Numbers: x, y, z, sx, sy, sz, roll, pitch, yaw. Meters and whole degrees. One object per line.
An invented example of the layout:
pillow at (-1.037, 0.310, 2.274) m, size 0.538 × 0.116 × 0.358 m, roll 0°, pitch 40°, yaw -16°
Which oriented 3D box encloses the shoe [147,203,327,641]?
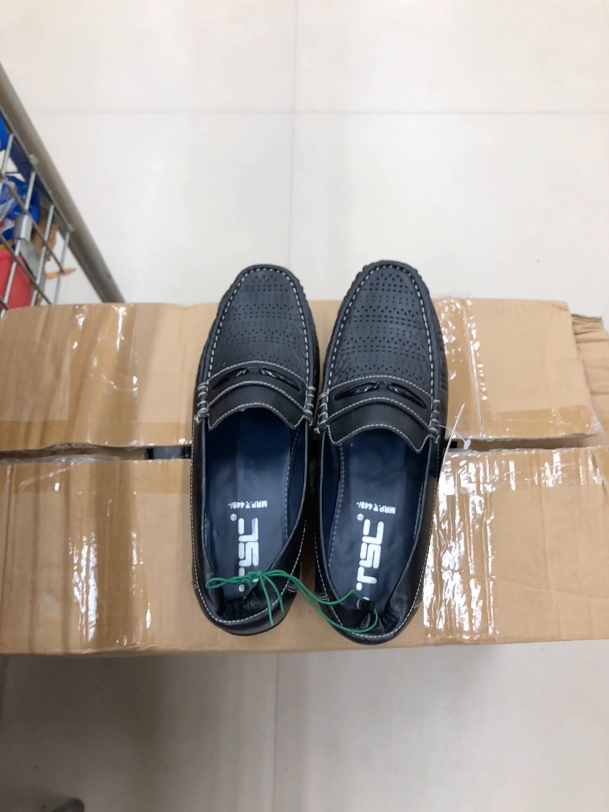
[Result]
shoe at (-0.038, 0.008, 0.503) m, size 0.100 × 0.090 × 0.311 m, roll 2°, pitch 70°, yaw 2°

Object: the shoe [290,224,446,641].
shoe at (0.048, 0.017, 0.529) m, size 0.100 × 0.090 × 0.311 m, roll 2°, pitch 70°, yaw 2°
